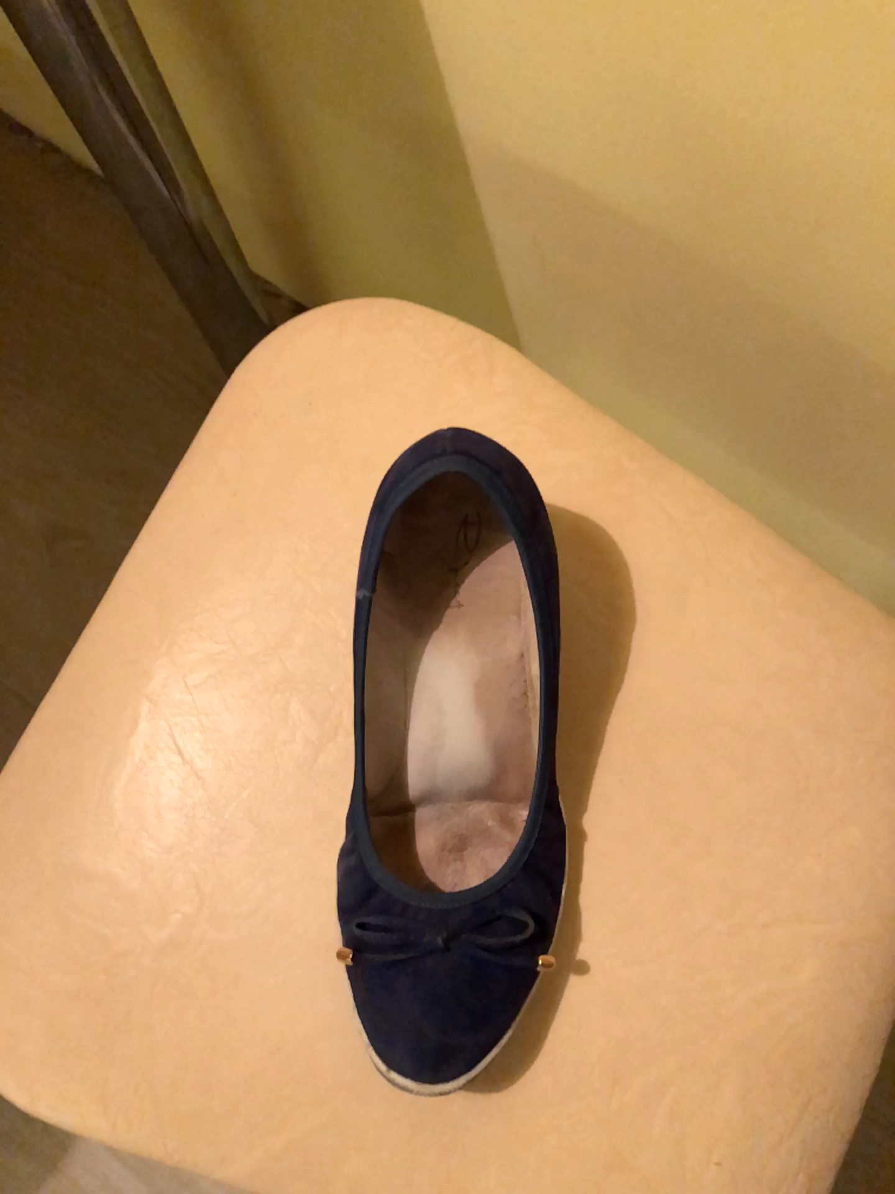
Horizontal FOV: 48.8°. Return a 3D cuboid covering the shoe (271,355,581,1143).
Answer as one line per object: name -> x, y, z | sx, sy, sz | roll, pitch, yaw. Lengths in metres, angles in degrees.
shoe -> 0.000, 0.048, 0.368 | 0.090, 0.100, 0.250 | 1, 76, 3
